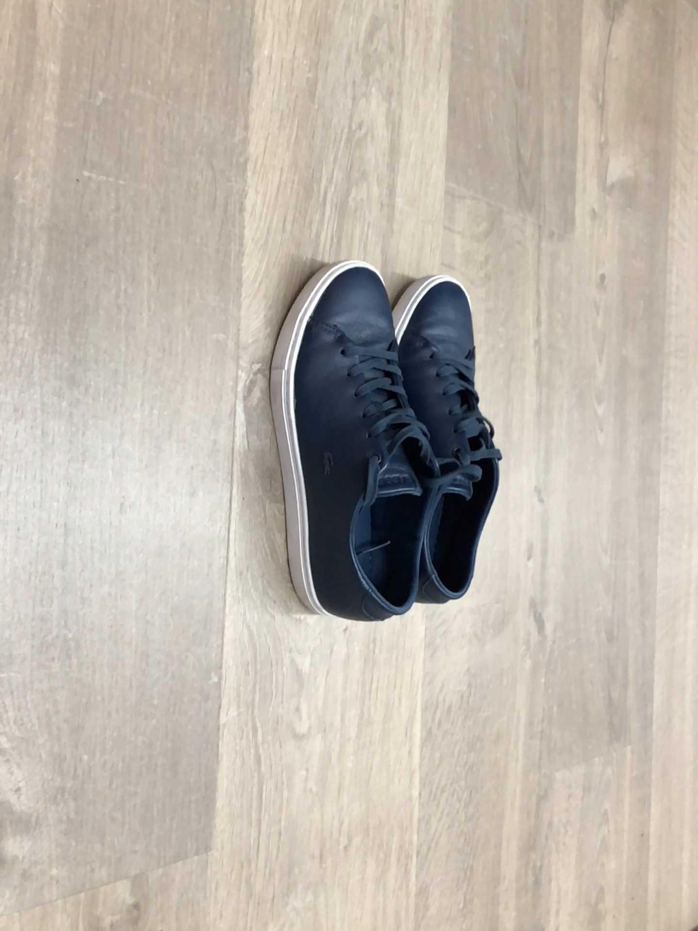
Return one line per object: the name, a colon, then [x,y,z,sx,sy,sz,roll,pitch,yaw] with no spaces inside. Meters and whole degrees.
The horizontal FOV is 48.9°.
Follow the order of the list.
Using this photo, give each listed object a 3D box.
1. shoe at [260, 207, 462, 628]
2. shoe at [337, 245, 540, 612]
shoe: [0.009,-0.028,0.513,0.101,0.080,0.247,3,89,-41]
shoe: [0.069,-0.021,0.575,0.100,0.080,0.247,11,83,-41]
